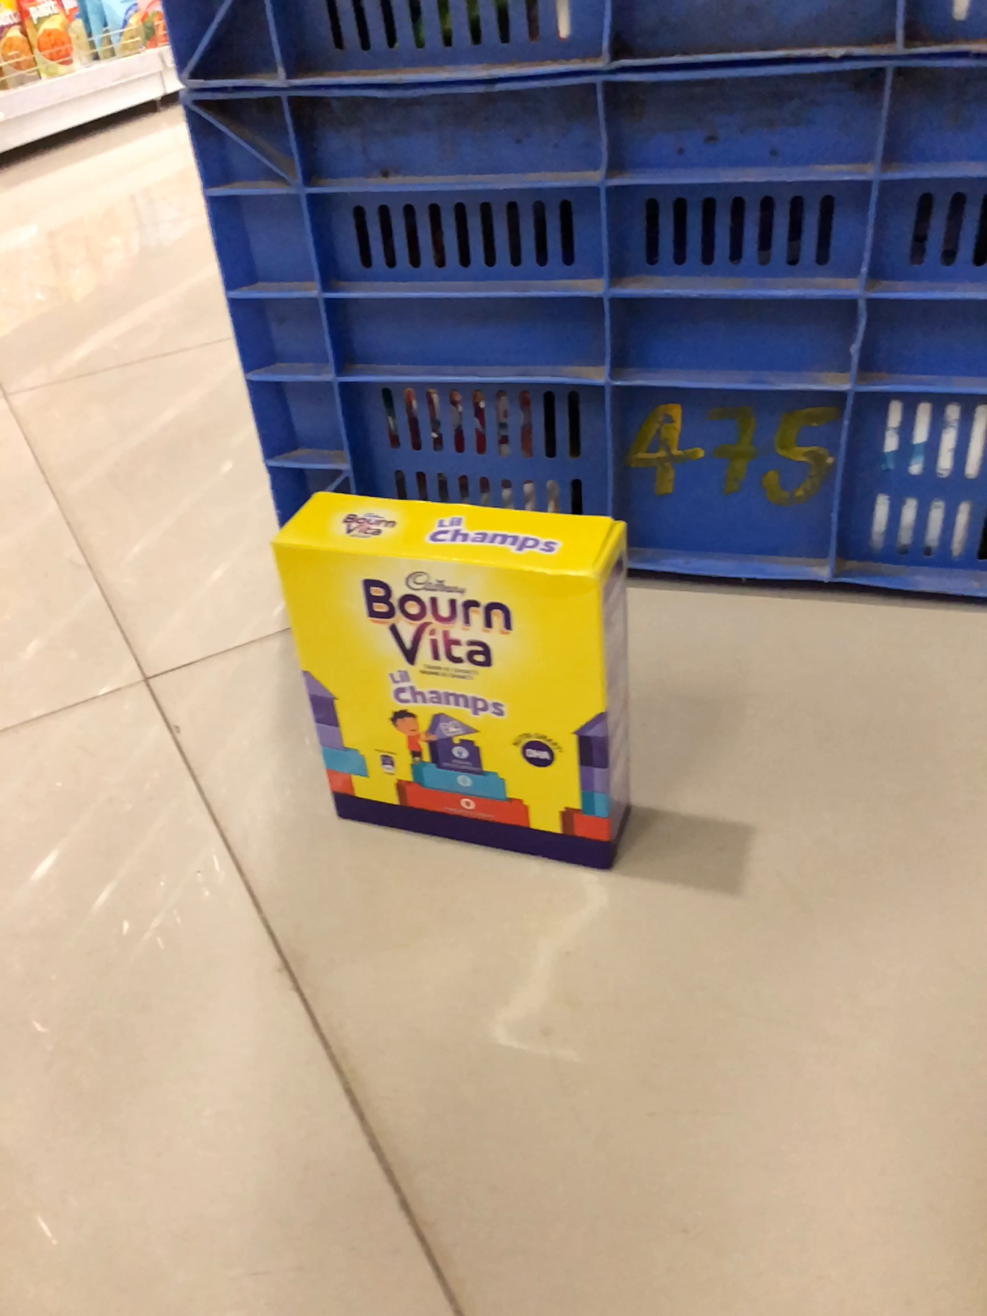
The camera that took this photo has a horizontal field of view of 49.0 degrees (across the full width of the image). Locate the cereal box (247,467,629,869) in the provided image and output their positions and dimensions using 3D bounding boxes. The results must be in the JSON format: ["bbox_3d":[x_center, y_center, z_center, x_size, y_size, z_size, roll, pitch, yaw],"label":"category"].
[{"bbox_3d":[-0.018,0.005,0.503,0.150,0.169,0.050,8,38,20],"label":"cereal box"}]
